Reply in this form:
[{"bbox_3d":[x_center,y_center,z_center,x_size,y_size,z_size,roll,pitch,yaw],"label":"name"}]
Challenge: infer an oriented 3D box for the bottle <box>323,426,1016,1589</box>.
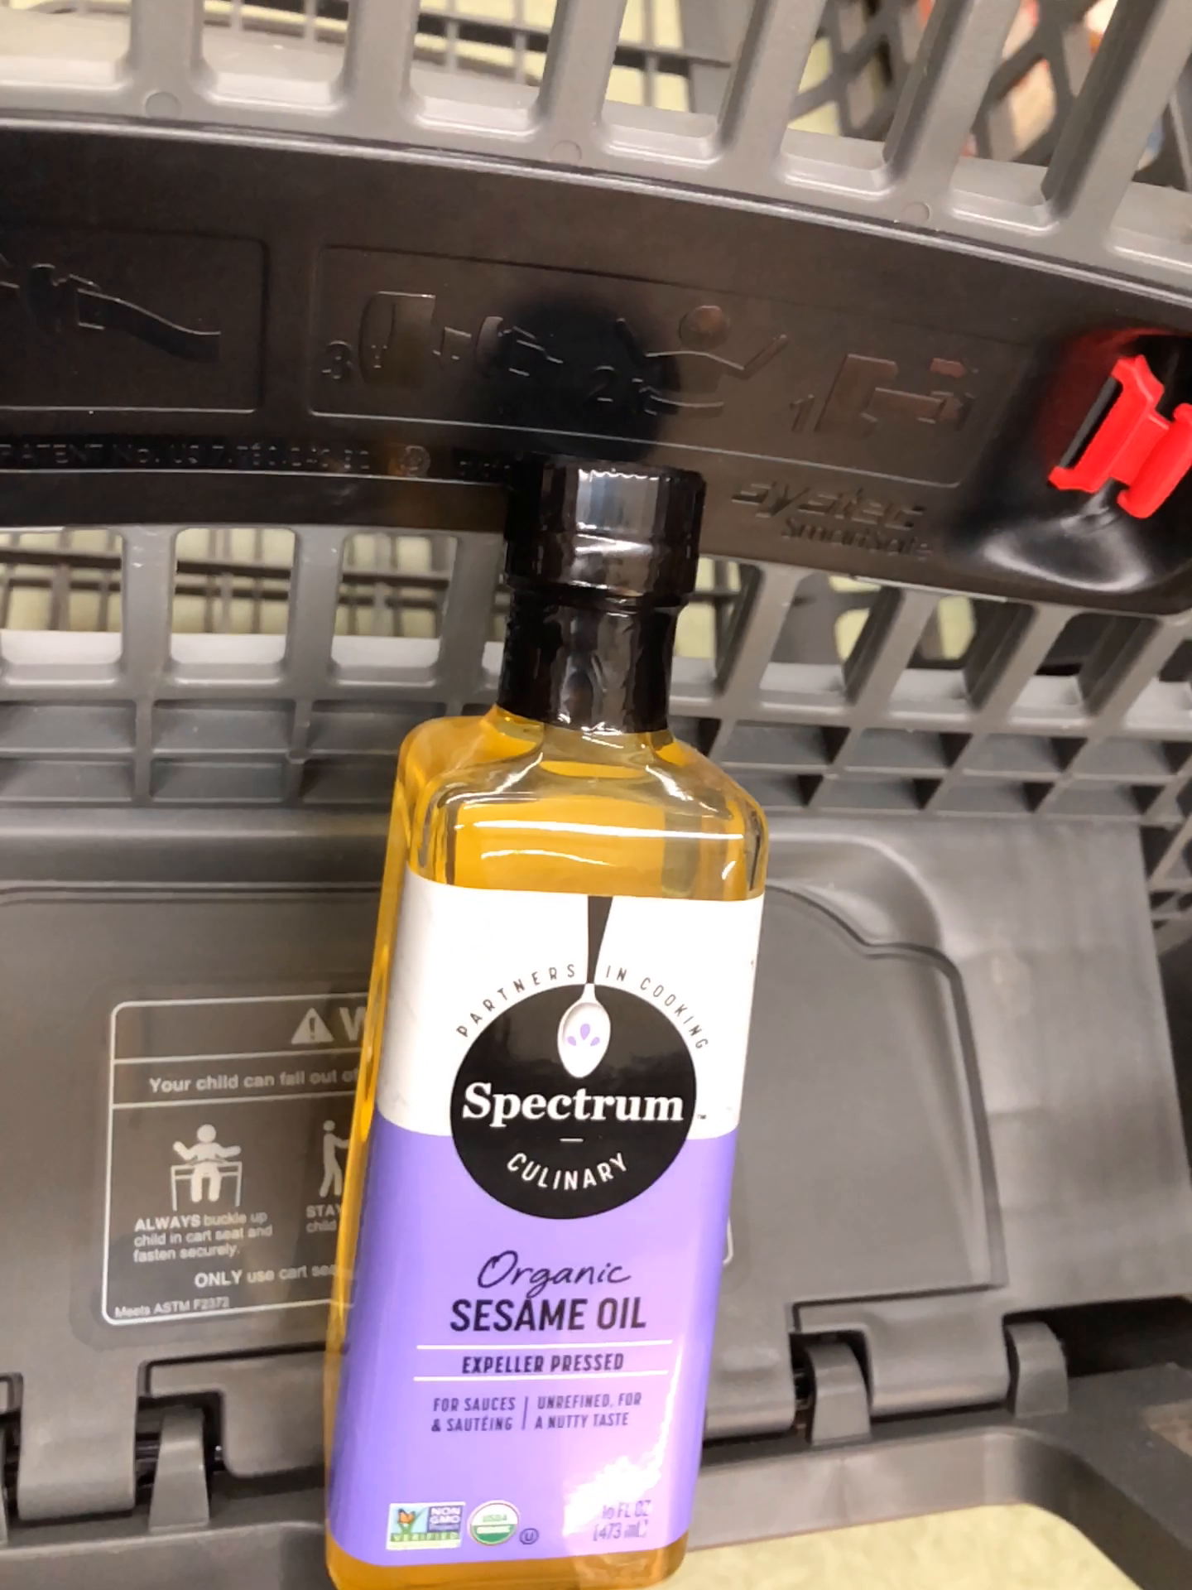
[{"bbox_3d":[0.001,0.044,0.237,0.080,0.065,0.200,4,106,-15],"label":"bottle"}]
